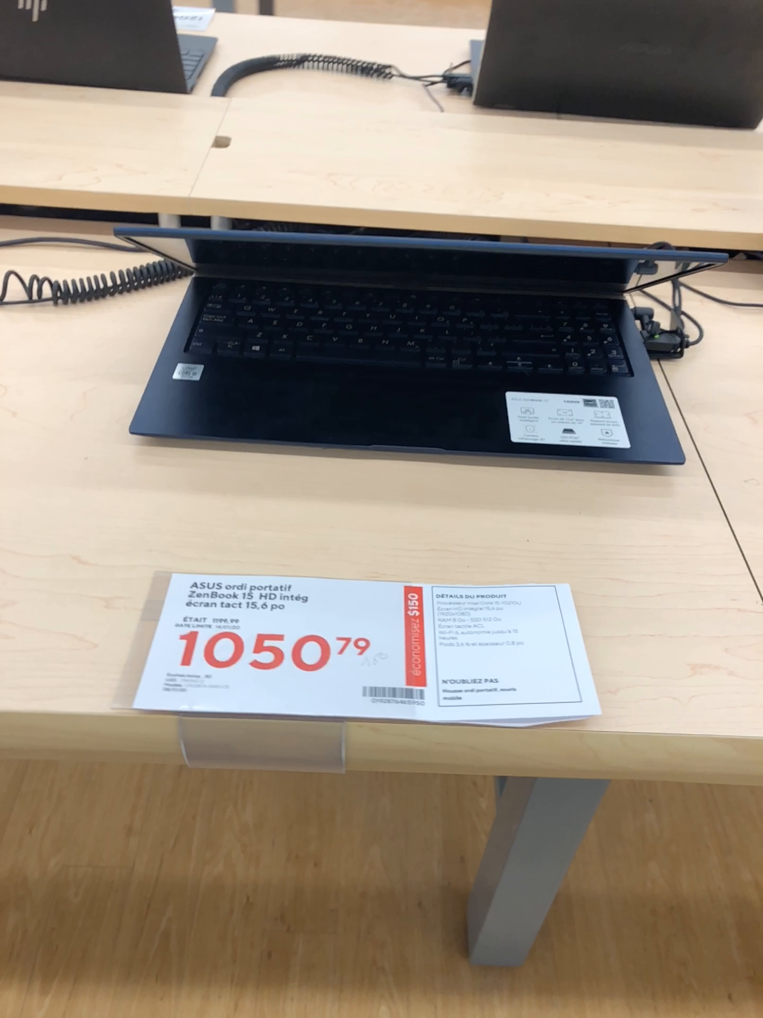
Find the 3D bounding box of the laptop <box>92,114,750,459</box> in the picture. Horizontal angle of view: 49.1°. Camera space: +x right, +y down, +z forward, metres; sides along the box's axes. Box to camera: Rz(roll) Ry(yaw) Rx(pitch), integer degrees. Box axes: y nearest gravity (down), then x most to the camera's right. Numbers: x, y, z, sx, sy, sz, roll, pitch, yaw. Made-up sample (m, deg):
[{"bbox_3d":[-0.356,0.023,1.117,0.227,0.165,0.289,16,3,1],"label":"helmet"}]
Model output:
[{"bbox_3d":[0.024,-0.154,0.554,0.346,0.119,0.205,3,43,-1],"label":"laptop"}]
